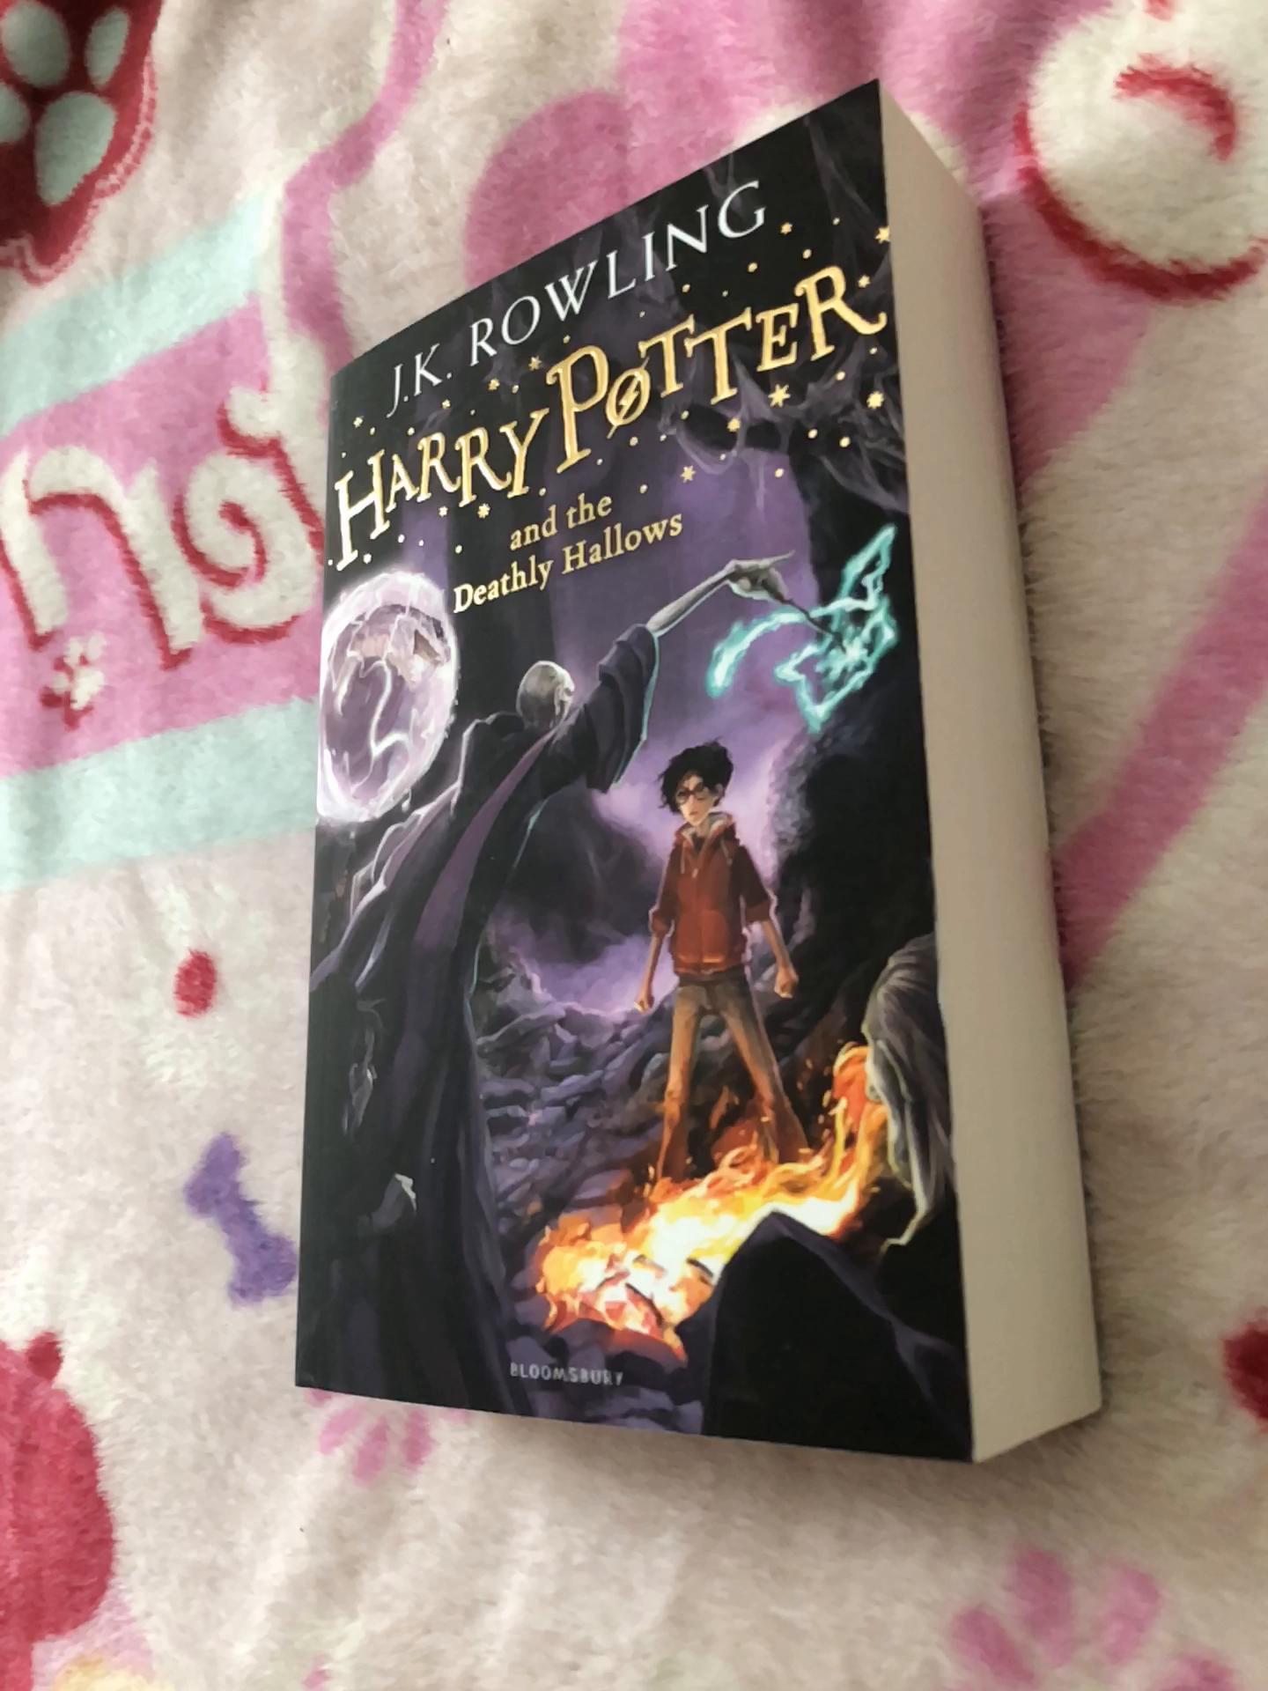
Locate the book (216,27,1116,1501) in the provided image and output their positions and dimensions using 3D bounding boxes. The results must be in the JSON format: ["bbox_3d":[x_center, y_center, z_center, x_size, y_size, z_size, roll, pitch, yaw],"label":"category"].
[{"bbox_3d":[-0.002,-0.006,0.234,0.126,0.060,0.187,-11,74,38],"label":"book"}]
